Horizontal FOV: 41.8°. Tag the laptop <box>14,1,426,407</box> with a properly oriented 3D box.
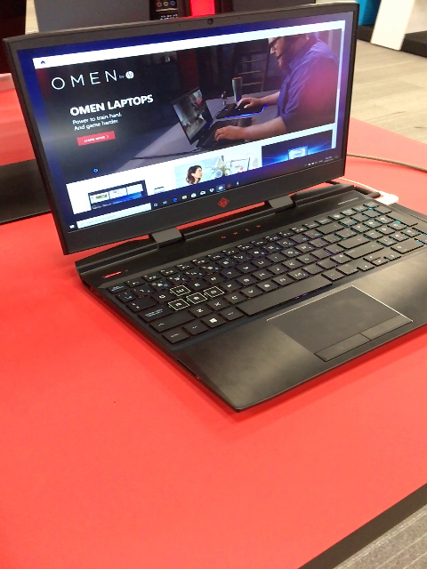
[{"bbox_3d":[0.091,-0.106,0.527,0.376,0.221,0.292,-23,47,-27],"label":"laptop"}]
